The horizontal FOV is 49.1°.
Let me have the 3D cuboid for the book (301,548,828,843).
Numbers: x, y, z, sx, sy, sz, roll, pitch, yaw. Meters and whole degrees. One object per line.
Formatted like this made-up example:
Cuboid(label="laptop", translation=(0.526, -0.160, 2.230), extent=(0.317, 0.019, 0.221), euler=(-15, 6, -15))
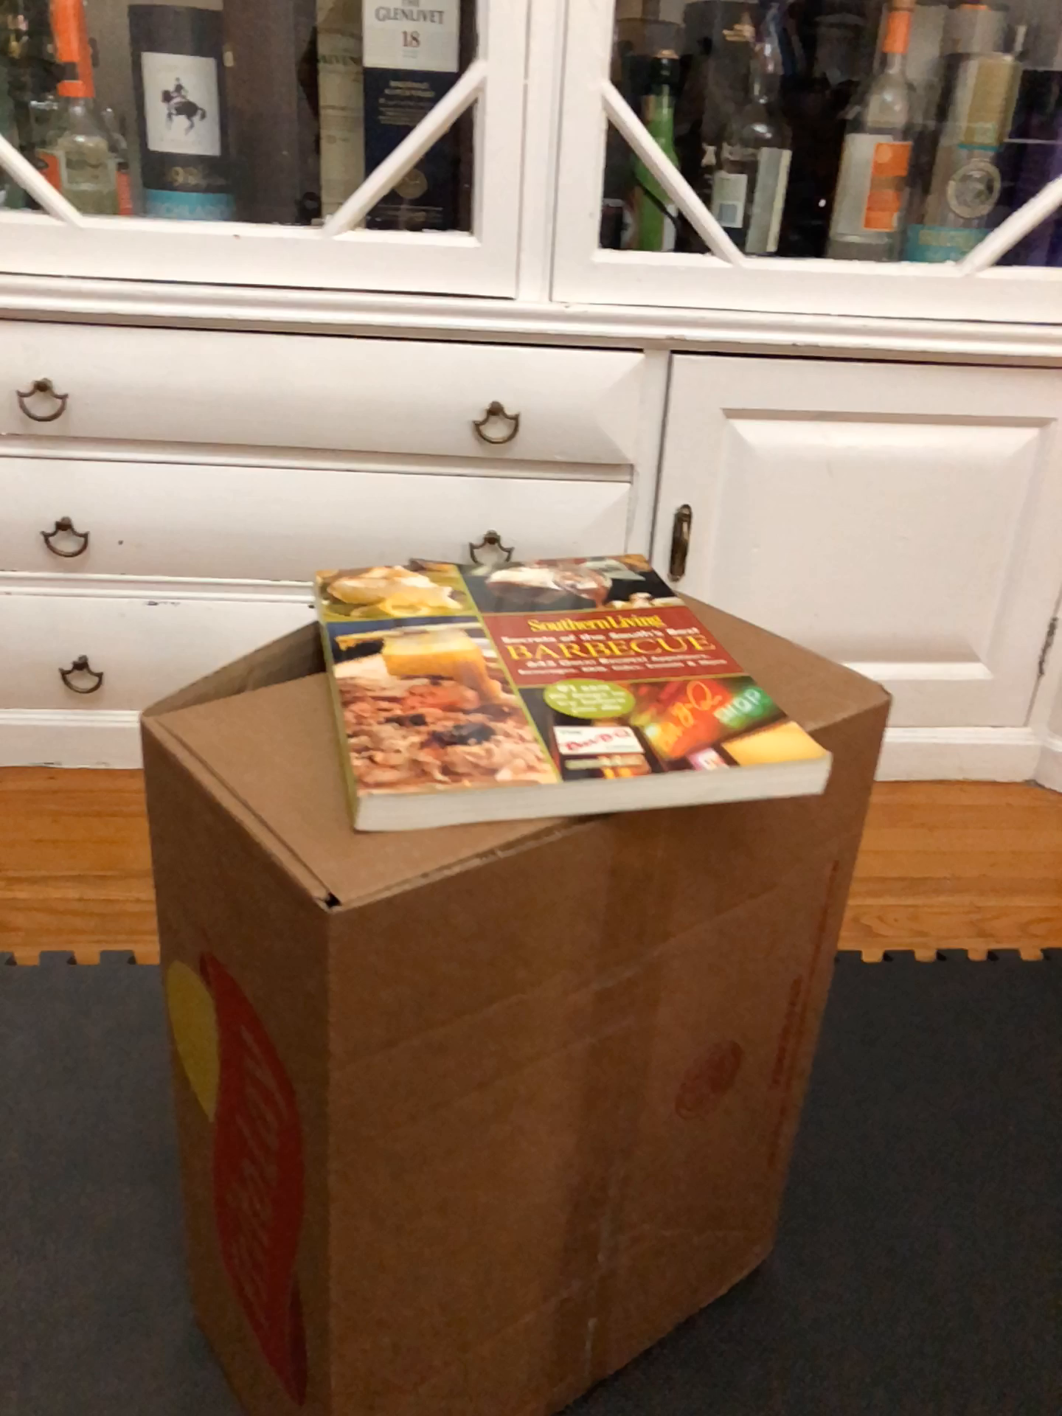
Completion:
Cuboid(label="book", translation=(-0.005, -0.025, 0.635), extent=(0.220, 0.020, 0.291), euler=(-3, 28, -13))
